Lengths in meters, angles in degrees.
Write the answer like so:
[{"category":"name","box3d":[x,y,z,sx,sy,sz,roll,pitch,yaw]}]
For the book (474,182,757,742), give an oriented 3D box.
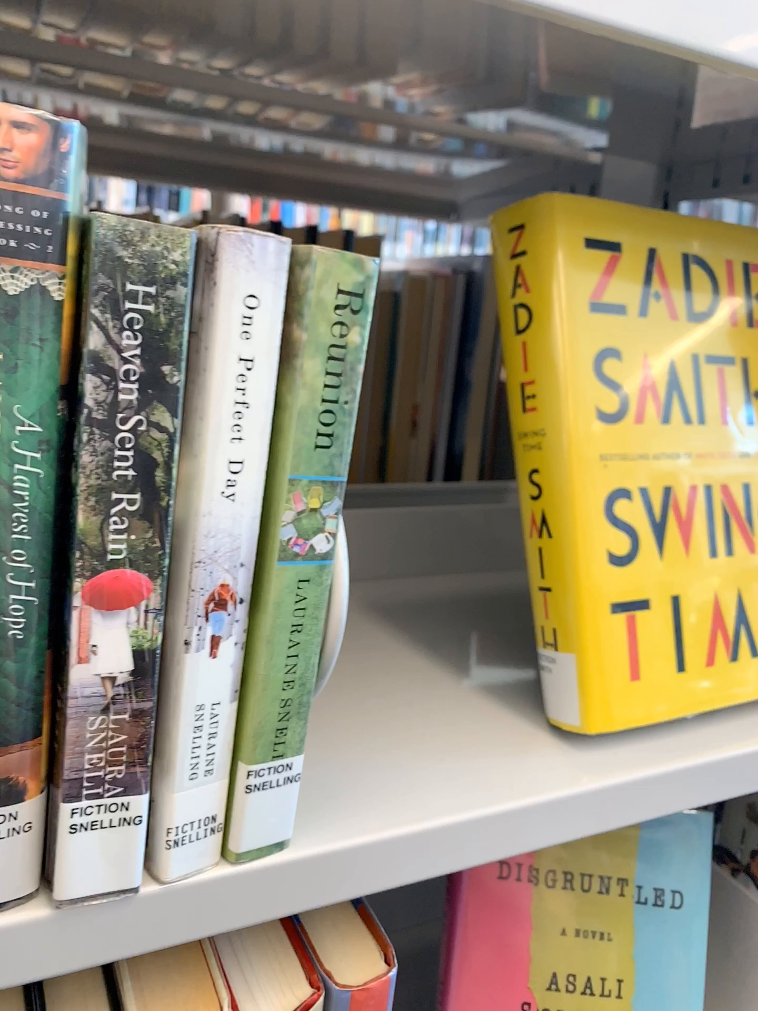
[{"category":"book","box3d":[0.142,-0.022,0.394,0.168,0.233,0.060,-2,-3,-28]}]
